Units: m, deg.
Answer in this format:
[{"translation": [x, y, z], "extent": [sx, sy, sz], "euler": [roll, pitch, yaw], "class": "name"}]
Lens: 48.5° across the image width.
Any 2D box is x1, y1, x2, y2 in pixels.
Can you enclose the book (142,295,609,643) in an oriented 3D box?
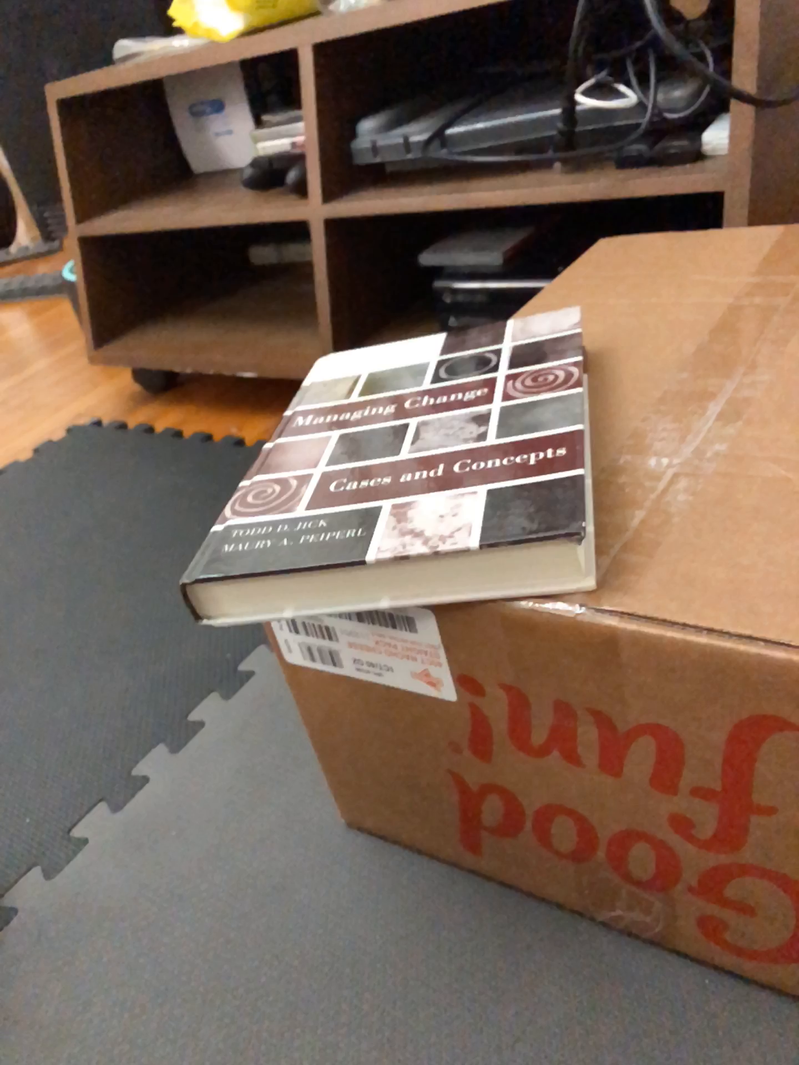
[{"translation": [0.006, -0.046, 0.442], "extent": [0.180, 0.030, 0.251], "euler": [-6, 32, 15], "class": "book"}]
